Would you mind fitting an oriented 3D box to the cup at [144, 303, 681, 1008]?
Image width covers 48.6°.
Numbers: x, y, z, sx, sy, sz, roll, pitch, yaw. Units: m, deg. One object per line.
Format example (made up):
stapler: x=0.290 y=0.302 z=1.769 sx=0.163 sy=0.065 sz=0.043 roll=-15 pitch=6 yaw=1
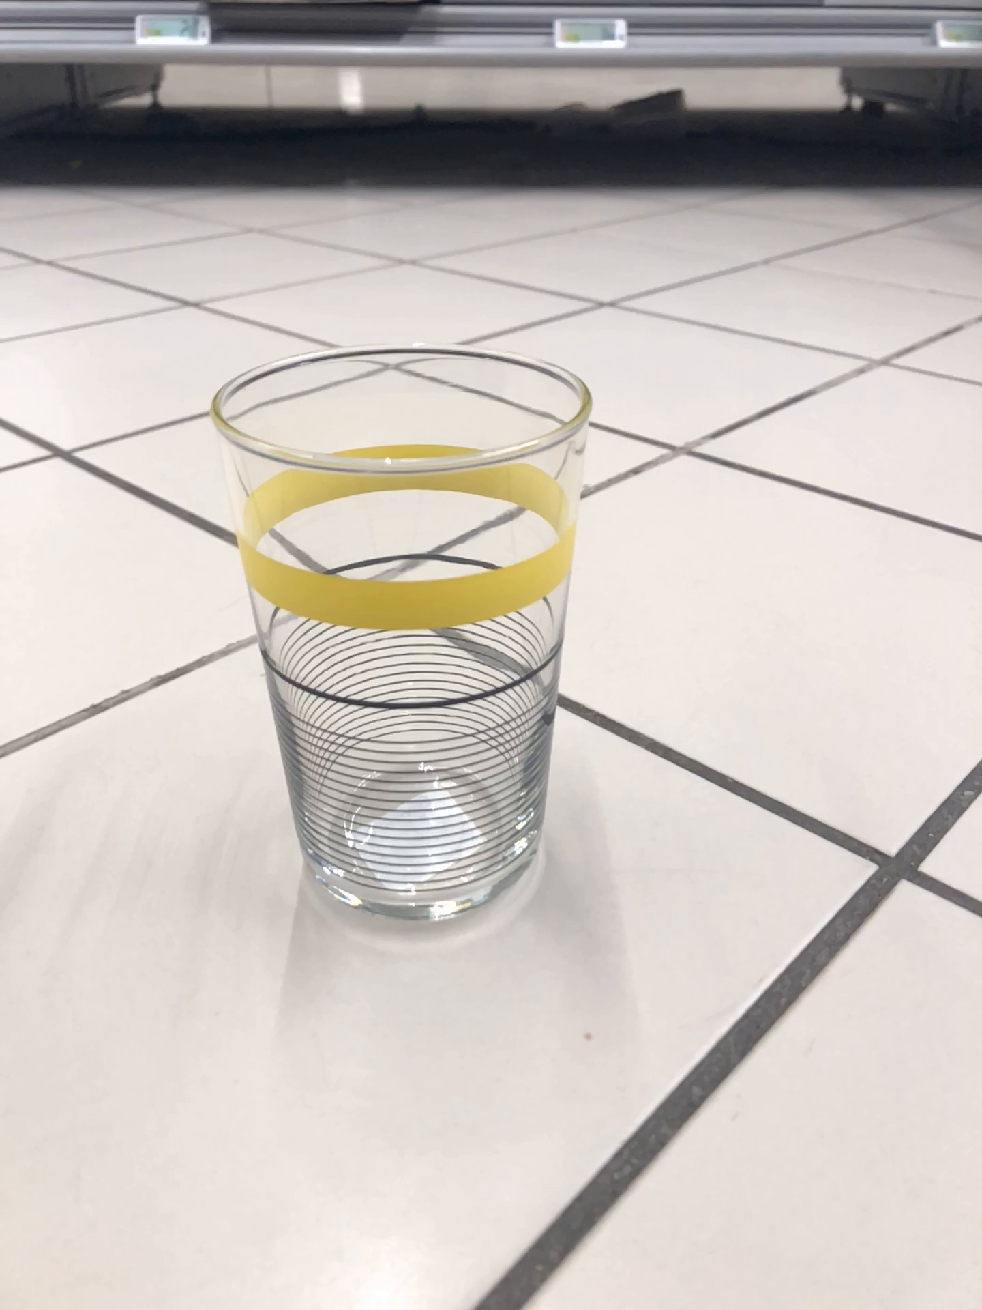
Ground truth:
cup: x=-0.017 y=-0.004 z=0.235 sx=0.080 sy=0.114 sz=0.076 roll=-1 pitch=31 yaw=1
